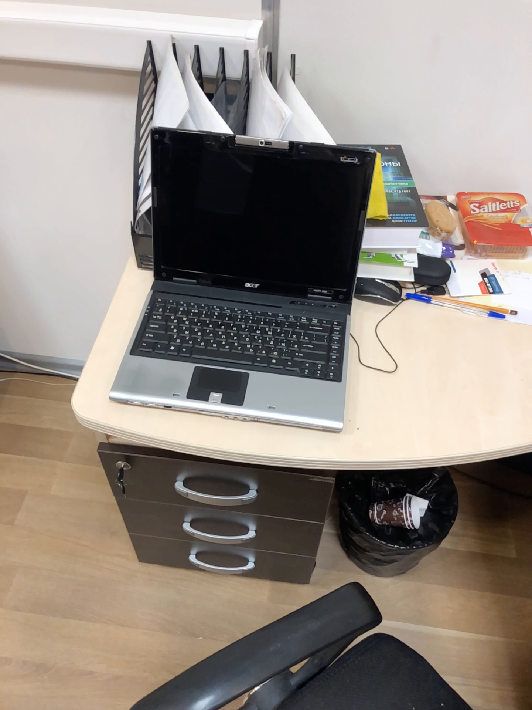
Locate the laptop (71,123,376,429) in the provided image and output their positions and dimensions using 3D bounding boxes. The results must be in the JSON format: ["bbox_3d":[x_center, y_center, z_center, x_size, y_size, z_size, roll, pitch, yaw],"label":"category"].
[{"bbox_3d":[-0.032,-0.117,0.815,0.325,0.219,0.325,7,51,4],"label":"laptop"}]
